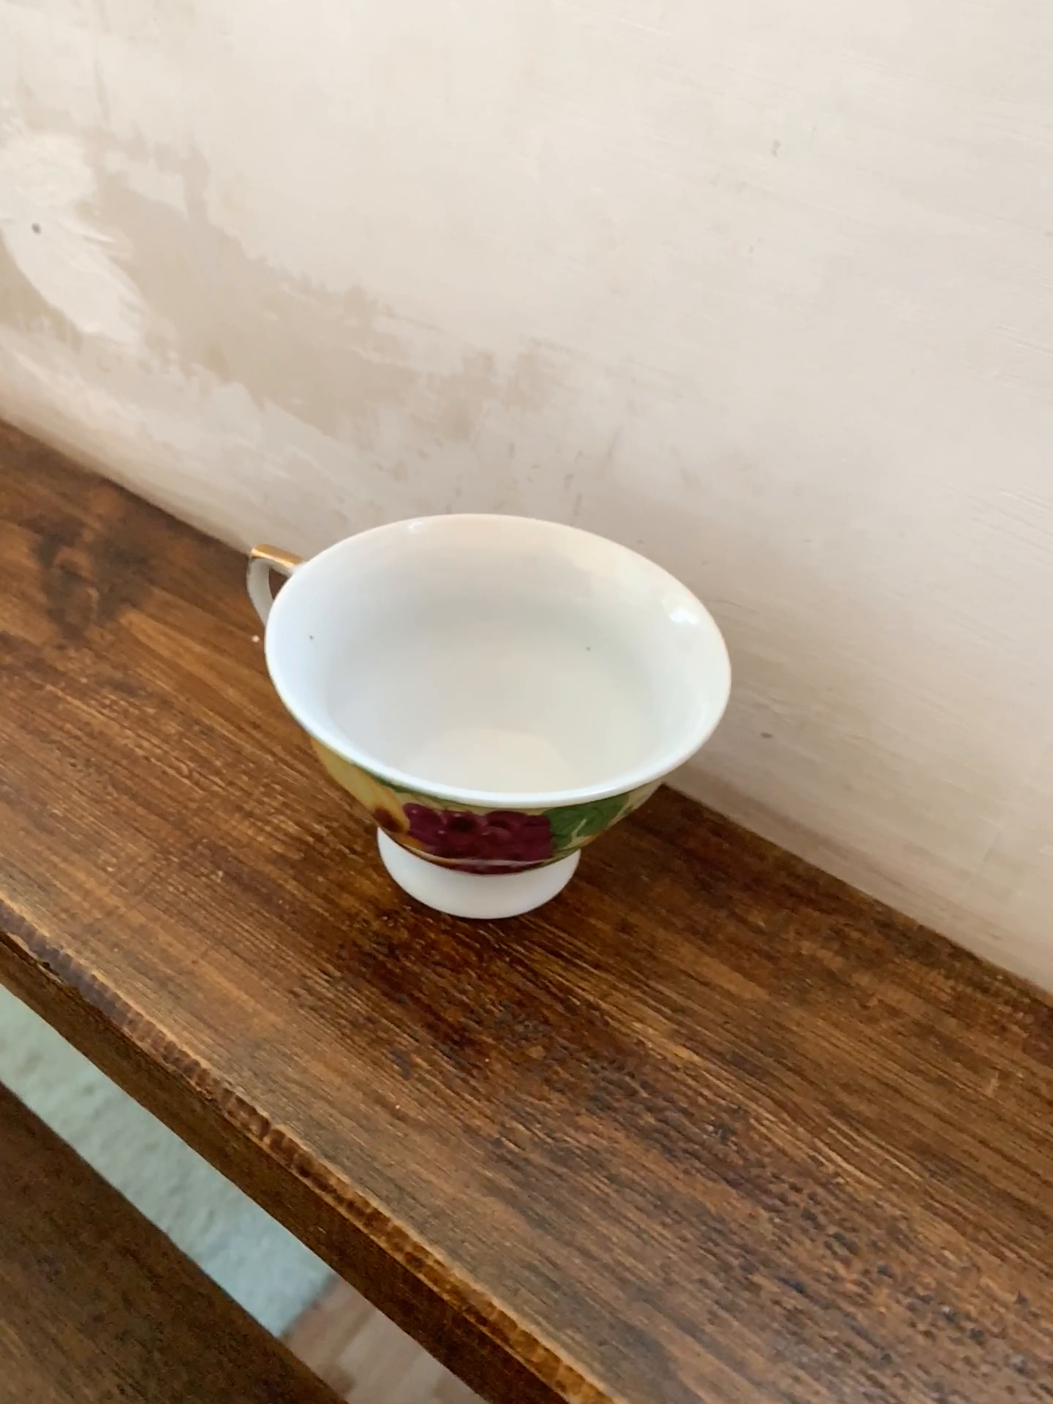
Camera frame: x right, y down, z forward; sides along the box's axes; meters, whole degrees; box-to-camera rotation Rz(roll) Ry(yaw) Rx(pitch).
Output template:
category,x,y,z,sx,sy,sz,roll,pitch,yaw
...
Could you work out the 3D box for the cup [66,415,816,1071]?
category,x,y,z,sx,sy,sz,roll,pitch,yaw
cup,-0.017,-0.001,0.243,0.123,0.058,0.092,27,44,21
